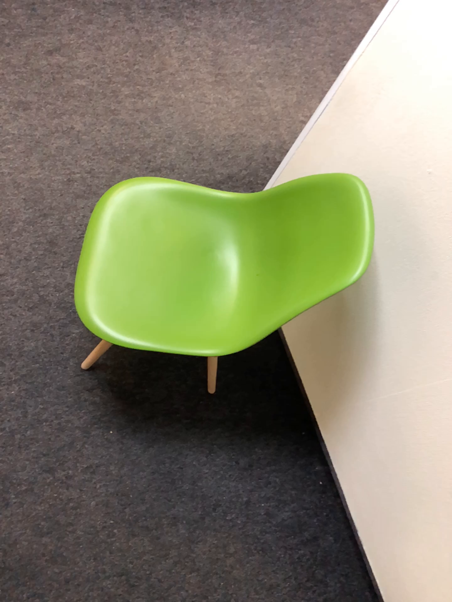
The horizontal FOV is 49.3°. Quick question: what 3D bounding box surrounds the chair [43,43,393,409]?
[{"bbox_3d":[-0.057,-0.076,1.202,0.580,0.708,0.481,14,68,-12],"label":"chair"}]
